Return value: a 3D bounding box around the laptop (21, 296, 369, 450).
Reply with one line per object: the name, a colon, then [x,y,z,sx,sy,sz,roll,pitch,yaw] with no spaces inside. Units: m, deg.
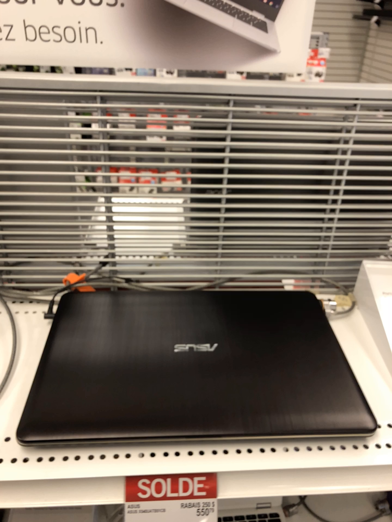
laptop: [0.002,0.123,0.559,0.367,0.013,0.235,1,33,-6]
